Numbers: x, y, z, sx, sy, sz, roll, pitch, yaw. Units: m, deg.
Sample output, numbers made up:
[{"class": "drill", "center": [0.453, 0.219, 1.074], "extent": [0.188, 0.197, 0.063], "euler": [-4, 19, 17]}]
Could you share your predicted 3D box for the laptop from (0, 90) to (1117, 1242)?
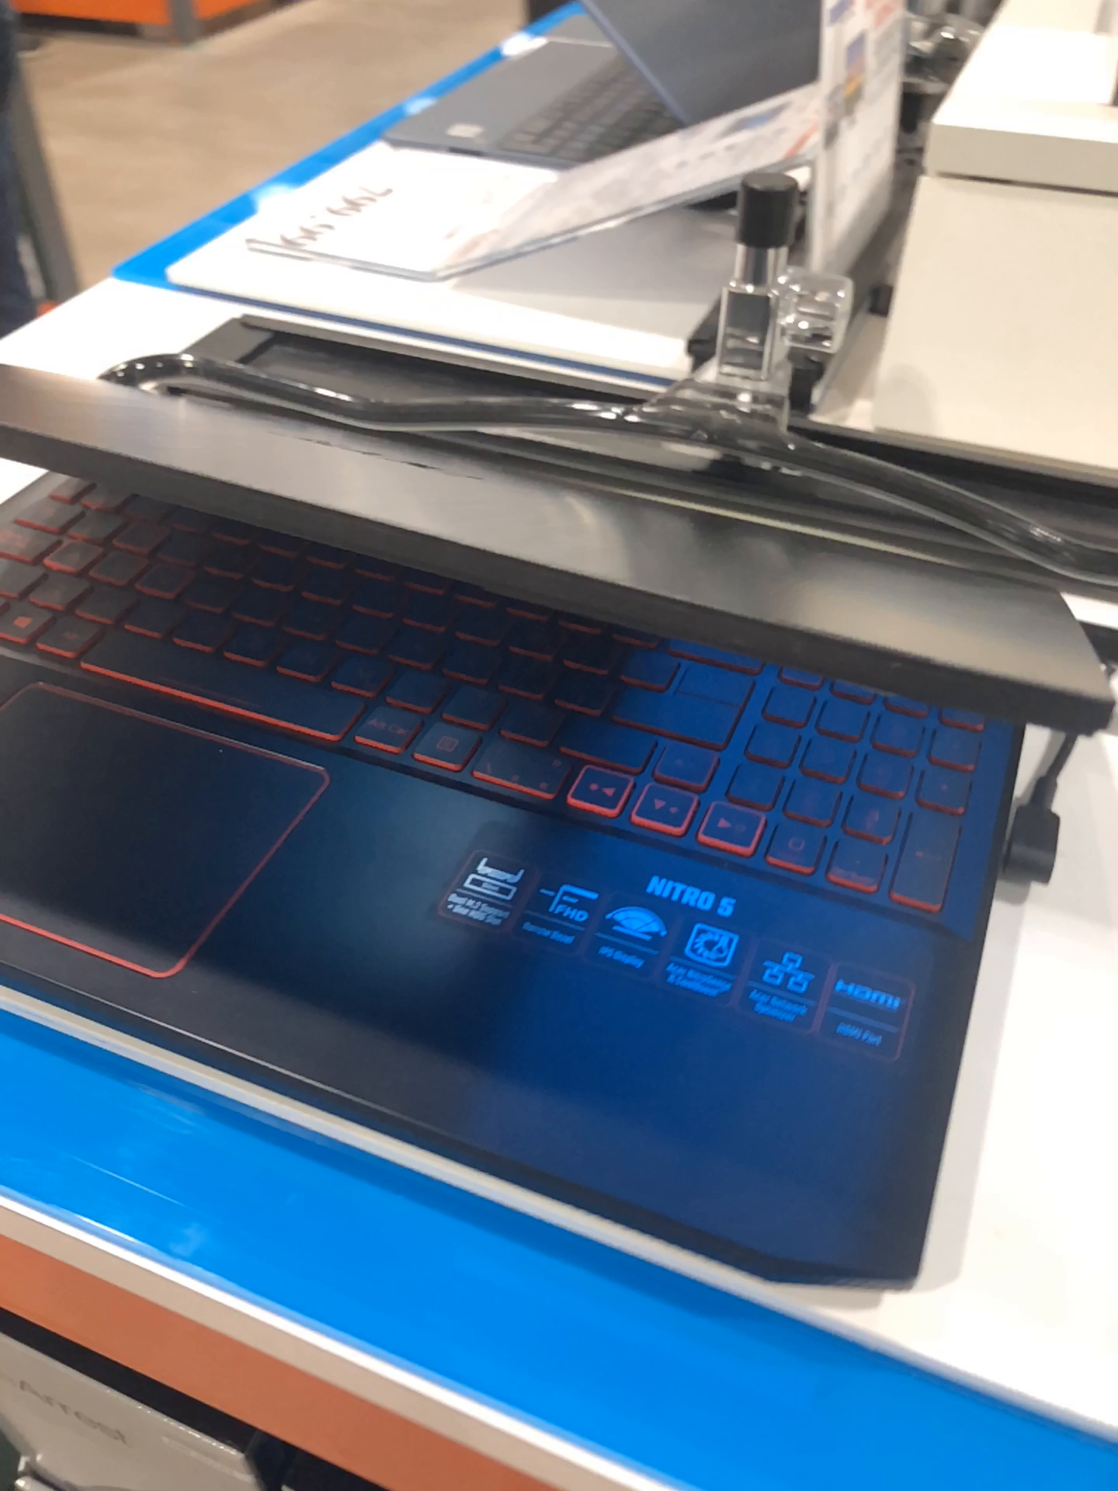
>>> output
[{"class": "laptop", "center": [-0.048, -0.058, 0.329], "extent": [0.344, 0.121, 0.219], "euler": [16, 44, 15]}]
